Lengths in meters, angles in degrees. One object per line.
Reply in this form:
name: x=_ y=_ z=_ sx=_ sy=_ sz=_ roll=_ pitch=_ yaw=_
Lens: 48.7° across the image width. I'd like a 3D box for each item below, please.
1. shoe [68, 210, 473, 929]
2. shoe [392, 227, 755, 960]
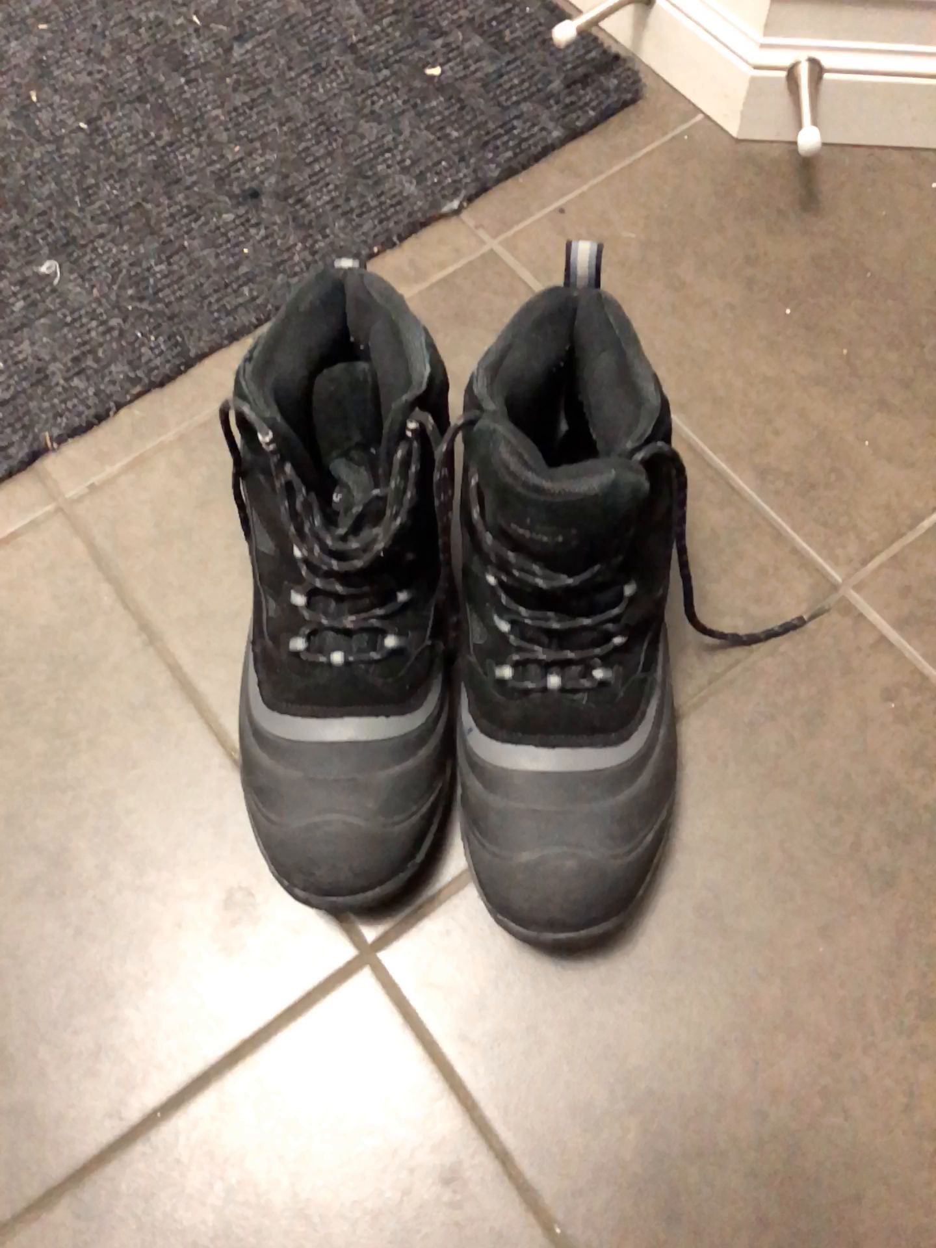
shoe: x=-0.068 y=-0.017 z=0.507 sx=0.120 sy=0.200 sz=0.290 roll=2 pitch=66 yaw=3
shoe: x=0.043 y=-0.004 z=0.494 sx=0.120 sy=0.200 sz=0.290 roll=1 pitch=66 yaw=3
